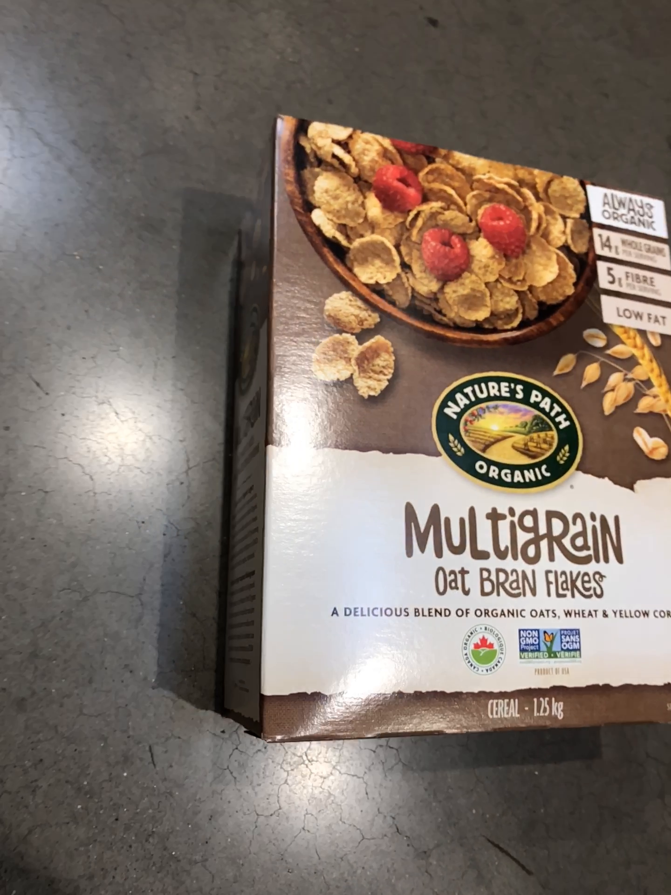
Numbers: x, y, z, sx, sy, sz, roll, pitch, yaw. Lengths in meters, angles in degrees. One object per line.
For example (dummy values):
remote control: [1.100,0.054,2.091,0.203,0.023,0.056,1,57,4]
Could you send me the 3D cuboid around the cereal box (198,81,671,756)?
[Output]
cereal box: [0.062,-0.006,0.412,0.240,0.110,0.310,6,72,-17]
